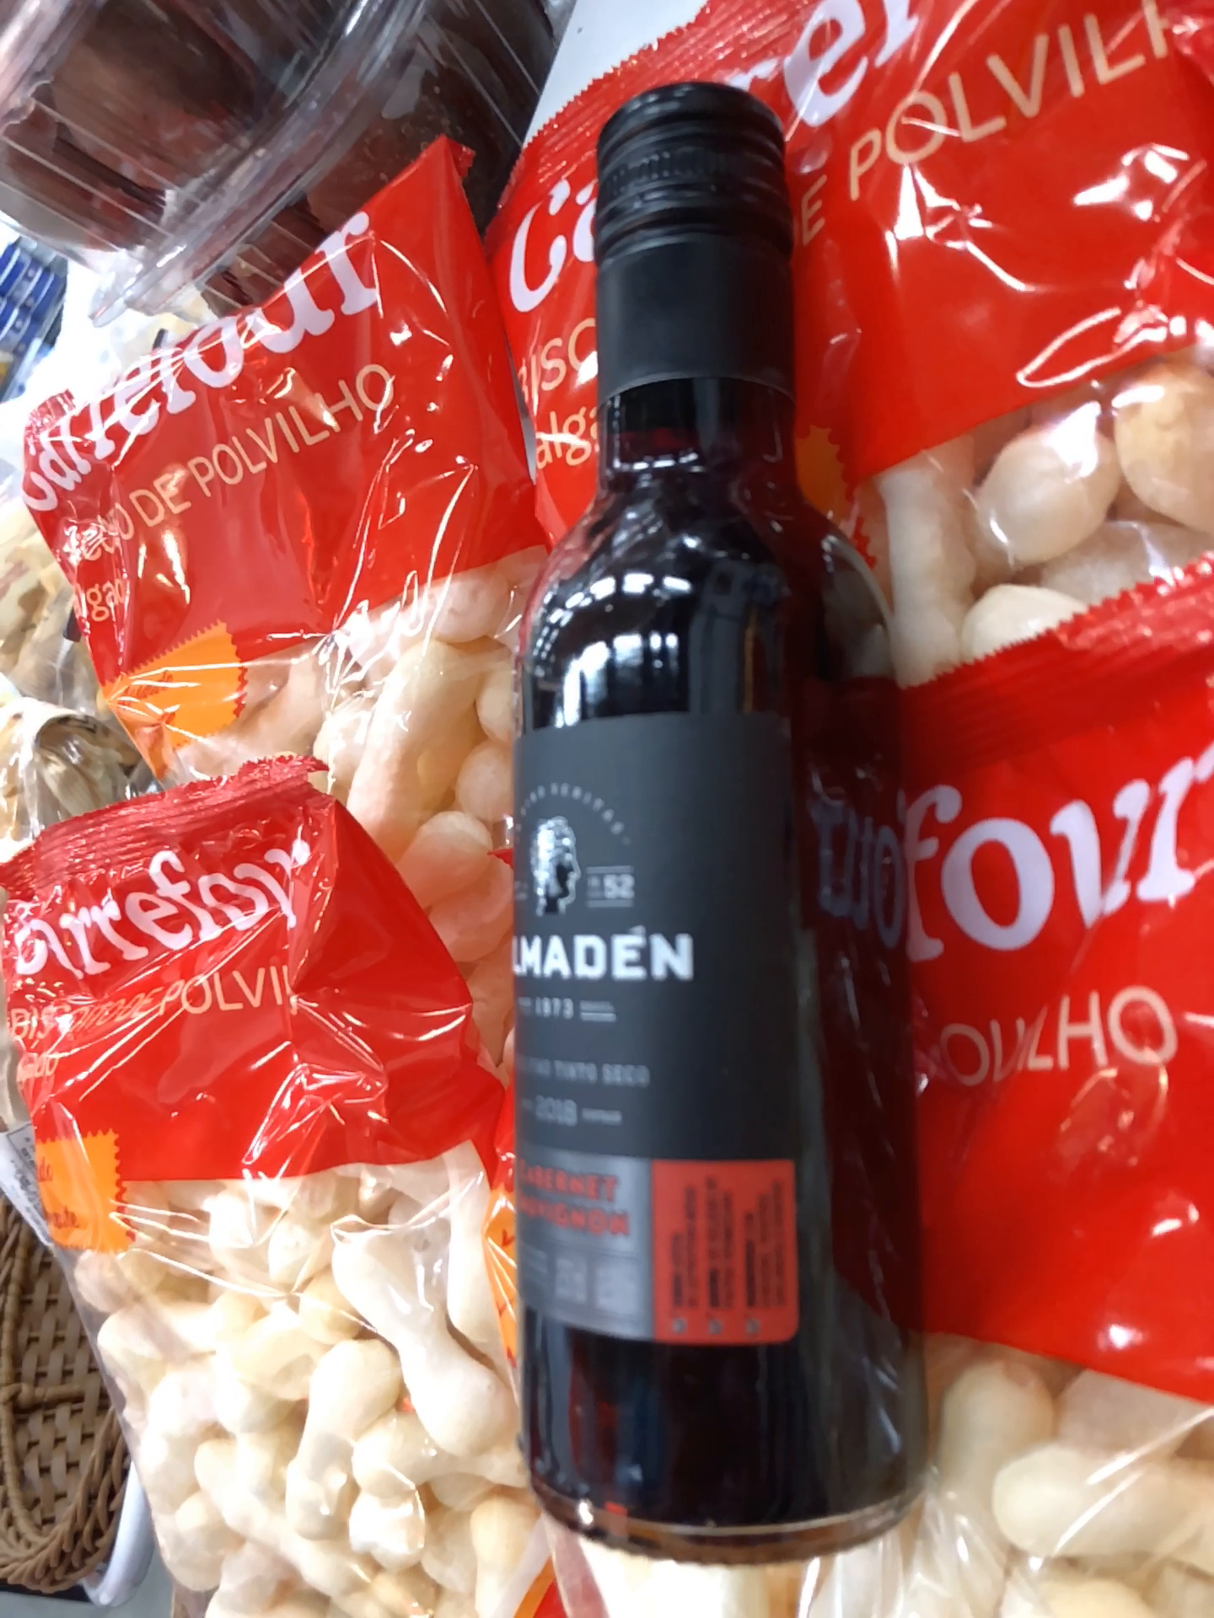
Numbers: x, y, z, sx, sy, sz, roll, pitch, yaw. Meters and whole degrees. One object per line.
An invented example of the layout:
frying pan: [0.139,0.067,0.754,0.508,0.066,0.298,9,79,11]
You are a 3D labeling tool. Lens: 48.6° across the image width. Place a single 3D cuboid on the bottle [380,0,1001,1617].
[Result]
bottle: [0.013,-0.022,0.207,0.060,0.060,0.240,-11,74,46]
